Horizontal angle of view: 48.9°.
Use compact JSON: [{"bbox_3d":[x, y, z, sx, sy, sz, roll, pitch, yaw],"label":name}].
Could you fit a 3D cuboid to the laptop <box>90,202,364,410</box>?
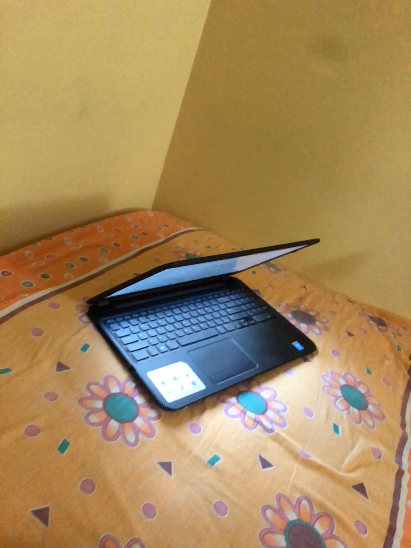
[{"bbox_3d":[0.040,0.023,0.783,0.367,0.190,0.238,-11,43,-42],"label":"laptop"}]
